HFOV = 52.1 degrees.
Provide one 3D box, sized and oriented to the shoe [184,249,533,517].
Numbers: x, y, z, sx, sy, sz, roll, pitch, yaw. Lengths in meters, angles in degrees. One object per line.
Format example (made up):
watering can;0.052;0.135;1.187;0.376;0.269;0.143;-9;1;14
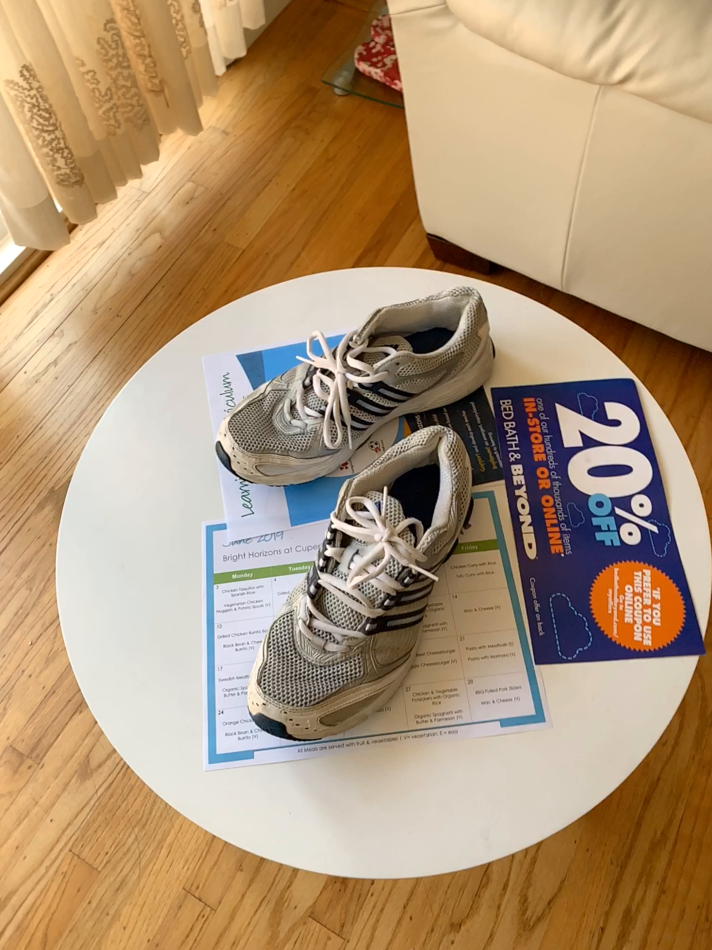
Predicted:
shoe;0.004;-0.085;0.657;0.280;0.080;0.110;-27;64;-10

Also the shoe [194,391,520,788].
shoe;0.011;0.082;0.582;0.120;0.080;0.280;26;67;16
